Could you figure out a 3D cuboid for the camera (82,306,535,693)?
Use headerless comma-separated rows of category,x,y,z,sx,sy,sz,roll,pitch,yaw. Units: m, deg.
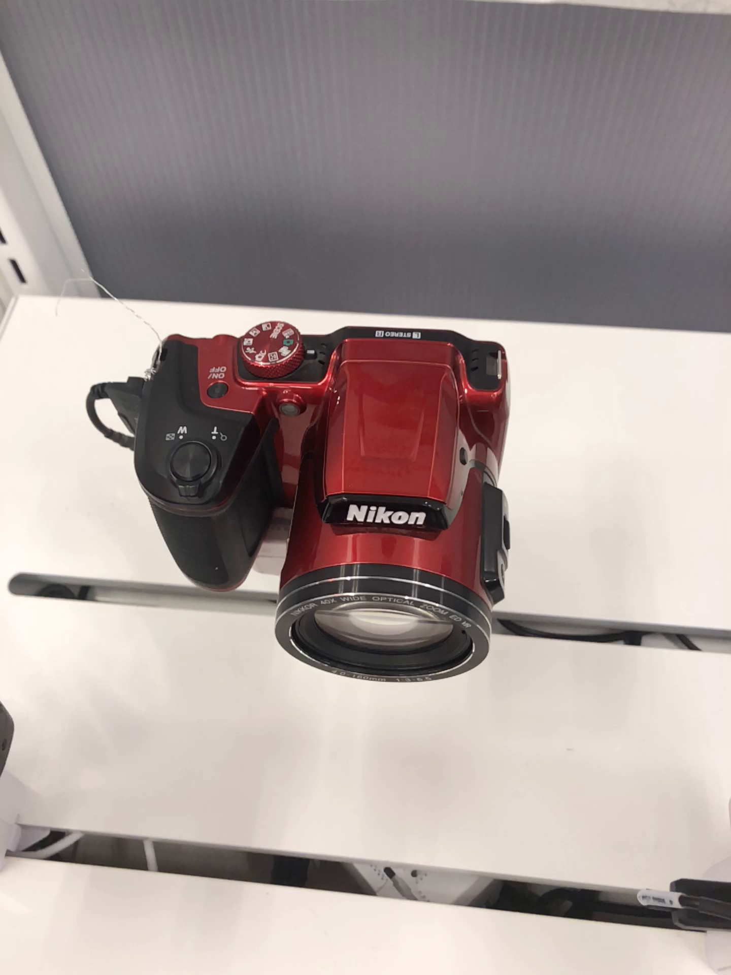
camera,-0.010,0.005,0.249,0.110,0.074,0.084,4,57,4
